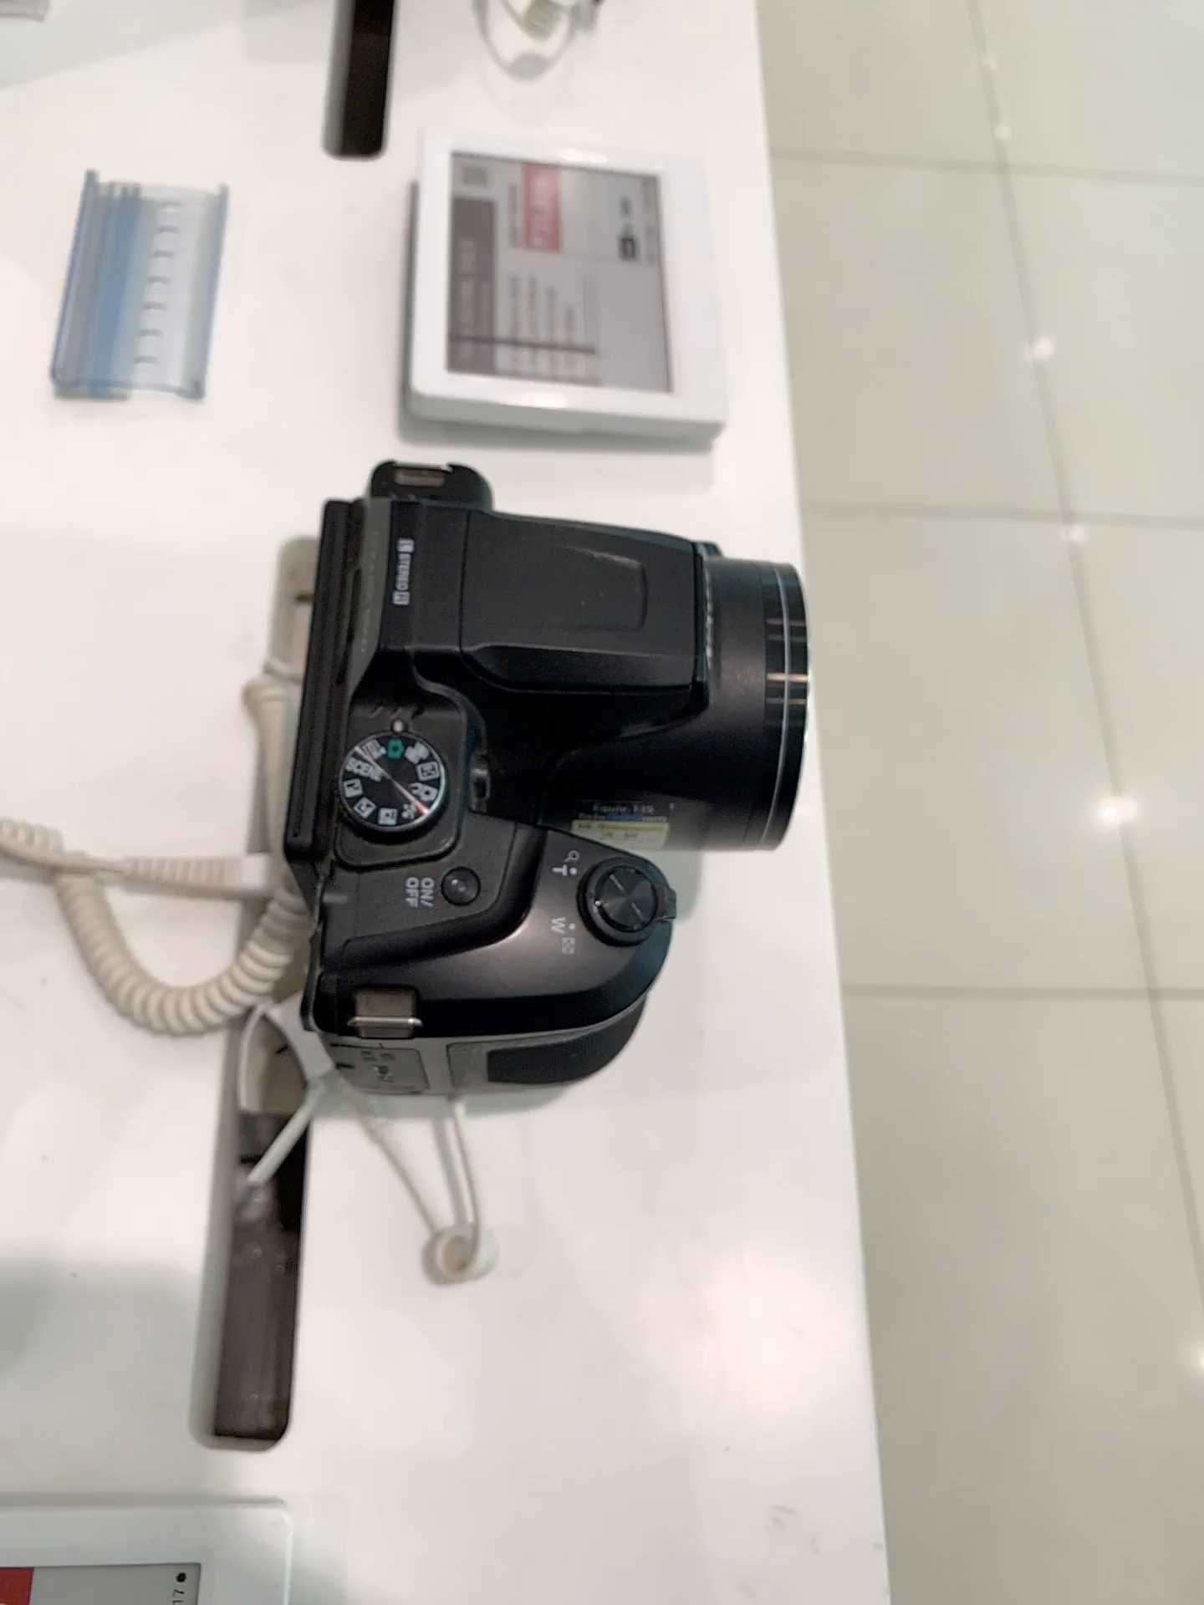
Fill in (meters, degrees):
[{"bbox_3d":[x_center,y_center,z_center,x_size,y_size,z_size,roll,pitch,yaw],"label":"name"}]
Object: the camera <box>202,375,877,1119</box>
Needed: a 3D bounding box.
[{"bbox_3d":[-0.011,-0.006,0.247,0.100,0.080,0.120,2,67,-4],"label":"camera"}]
